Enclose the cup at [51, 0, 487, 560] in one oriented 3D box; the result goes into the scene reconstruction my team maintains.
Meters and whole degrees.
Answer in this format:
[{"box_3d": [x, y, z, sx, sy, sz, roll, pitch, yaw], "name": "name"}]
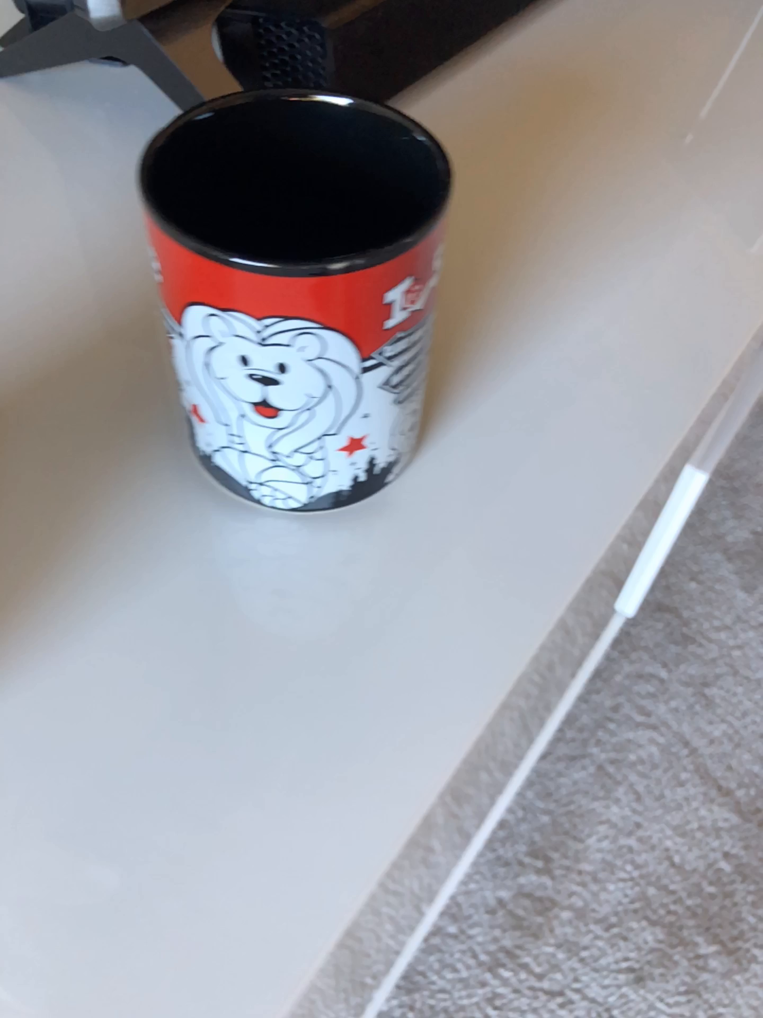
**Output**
[{"box_3d": [-0.023, -0.072, 0.267, 0.080, 0.110, 0.120, 12, 53, 6], "name": "cup"}]
